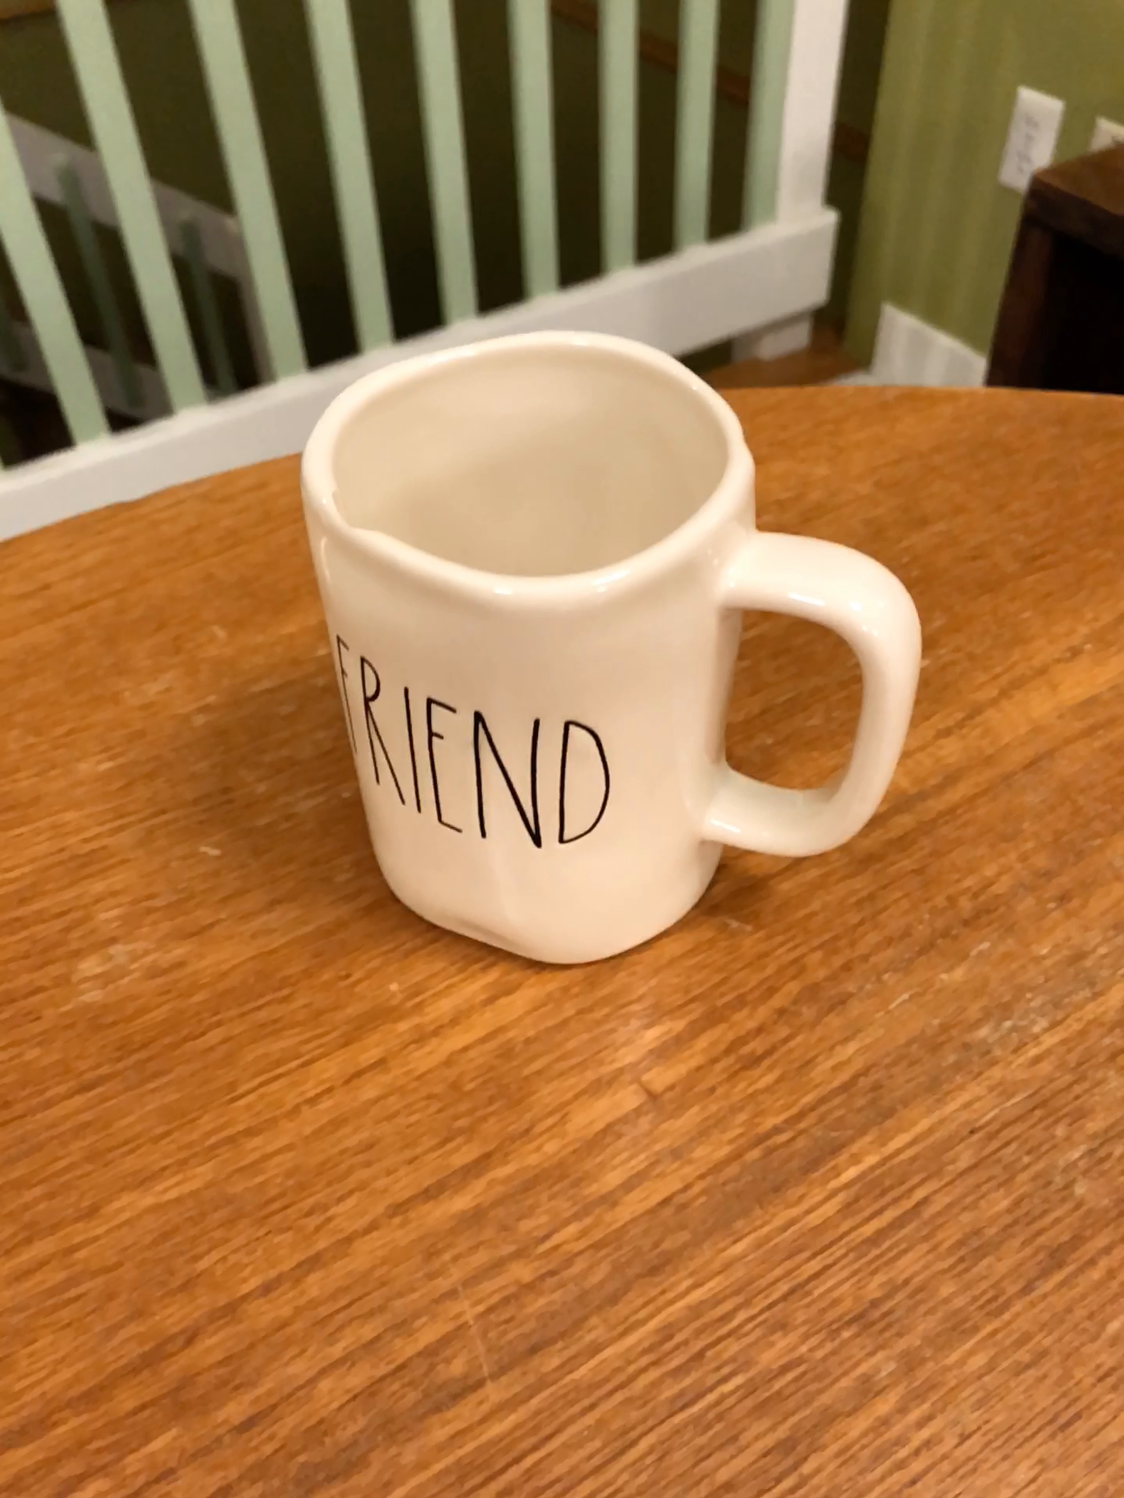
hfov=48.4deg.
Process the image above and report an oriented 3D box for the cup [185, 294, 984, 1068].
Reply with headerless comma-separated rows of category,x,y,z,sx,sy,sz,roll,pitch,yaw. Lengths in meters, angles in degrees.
cup,0.009,-0.016,0.270,0.124,0.114,0.084,16,49,17
